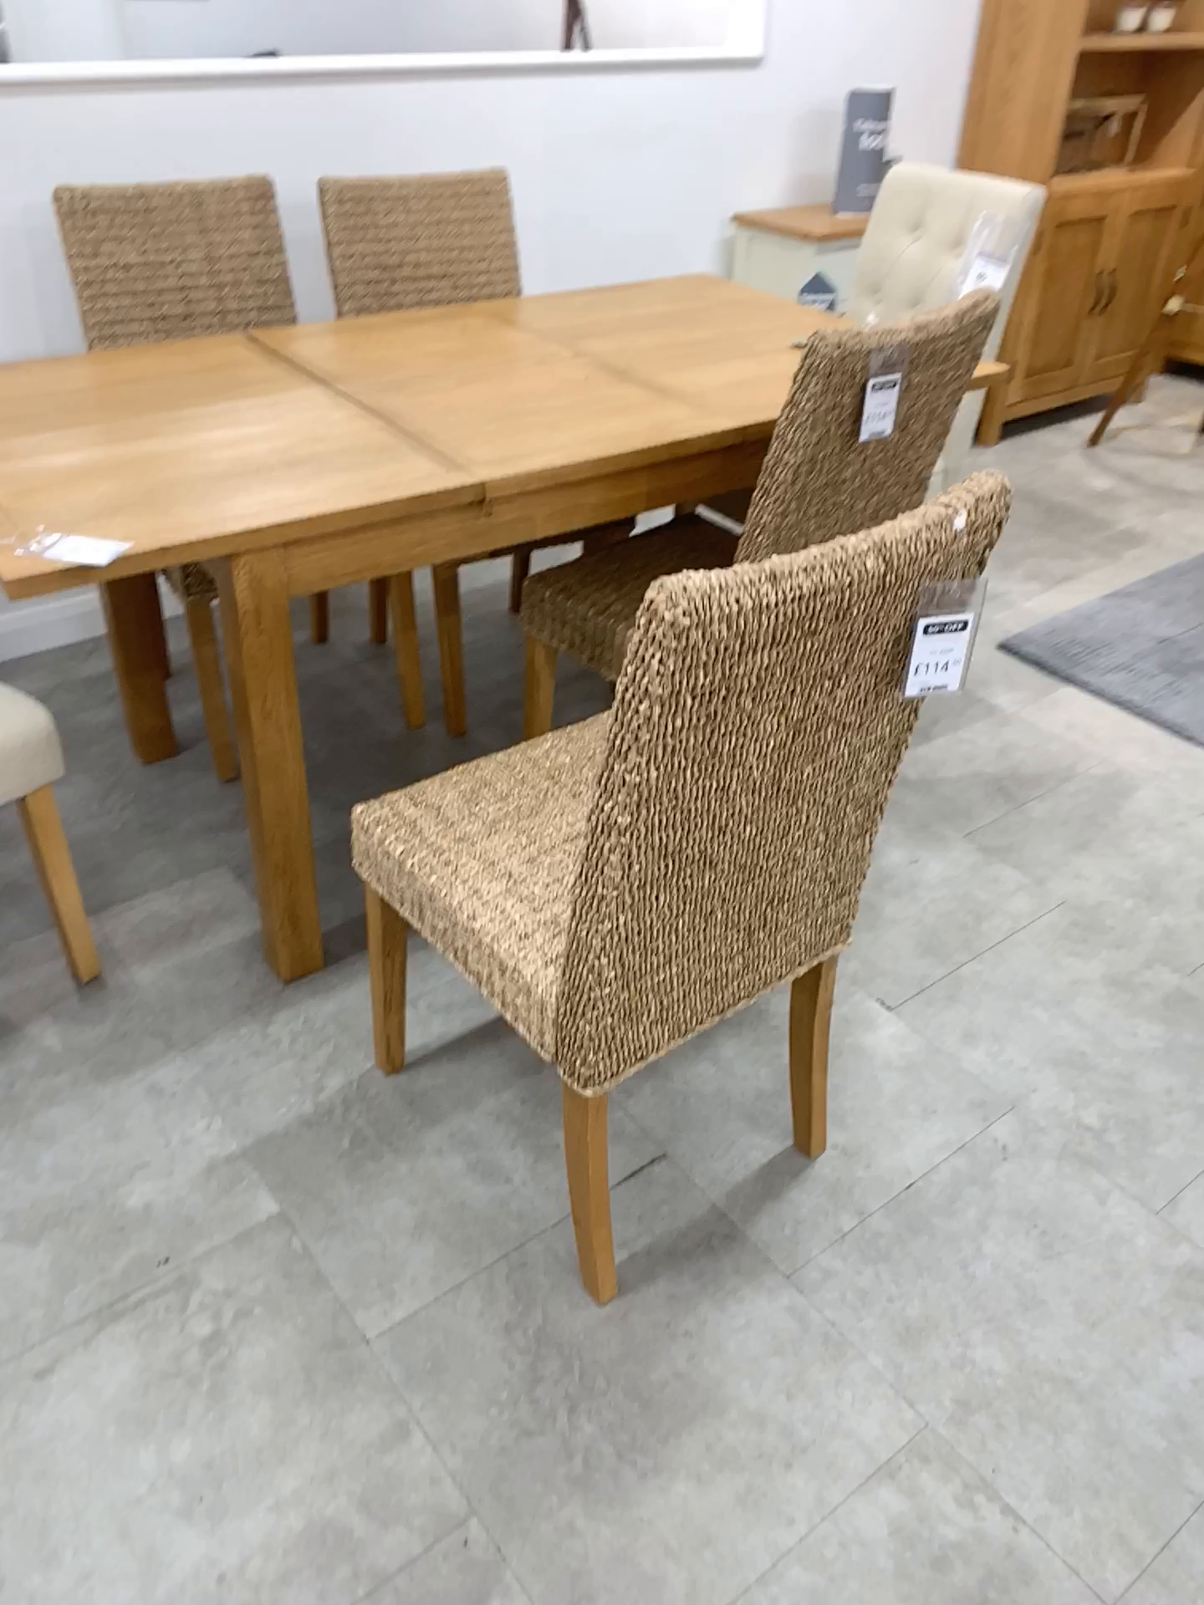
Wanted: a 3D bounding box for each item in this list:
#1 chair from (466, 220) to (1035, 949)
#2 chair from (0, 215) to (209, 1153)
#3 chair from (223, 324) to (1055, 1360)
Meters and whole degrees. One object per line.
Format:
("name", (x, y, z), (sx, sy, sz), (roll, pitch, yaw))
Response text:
("chair", (0.188, -0.362, 1.906), (0.527, 0.870, 0.567), (-28, 44, -36))
("chair", (-0.929, -0.181, 1.491), (0.728, 0.840, 0.426), (29, 42, 34))
("chair", (0.002, 0.008, 1.343), (0.506, 0.840, 0.578), (-22, 41, -31))
